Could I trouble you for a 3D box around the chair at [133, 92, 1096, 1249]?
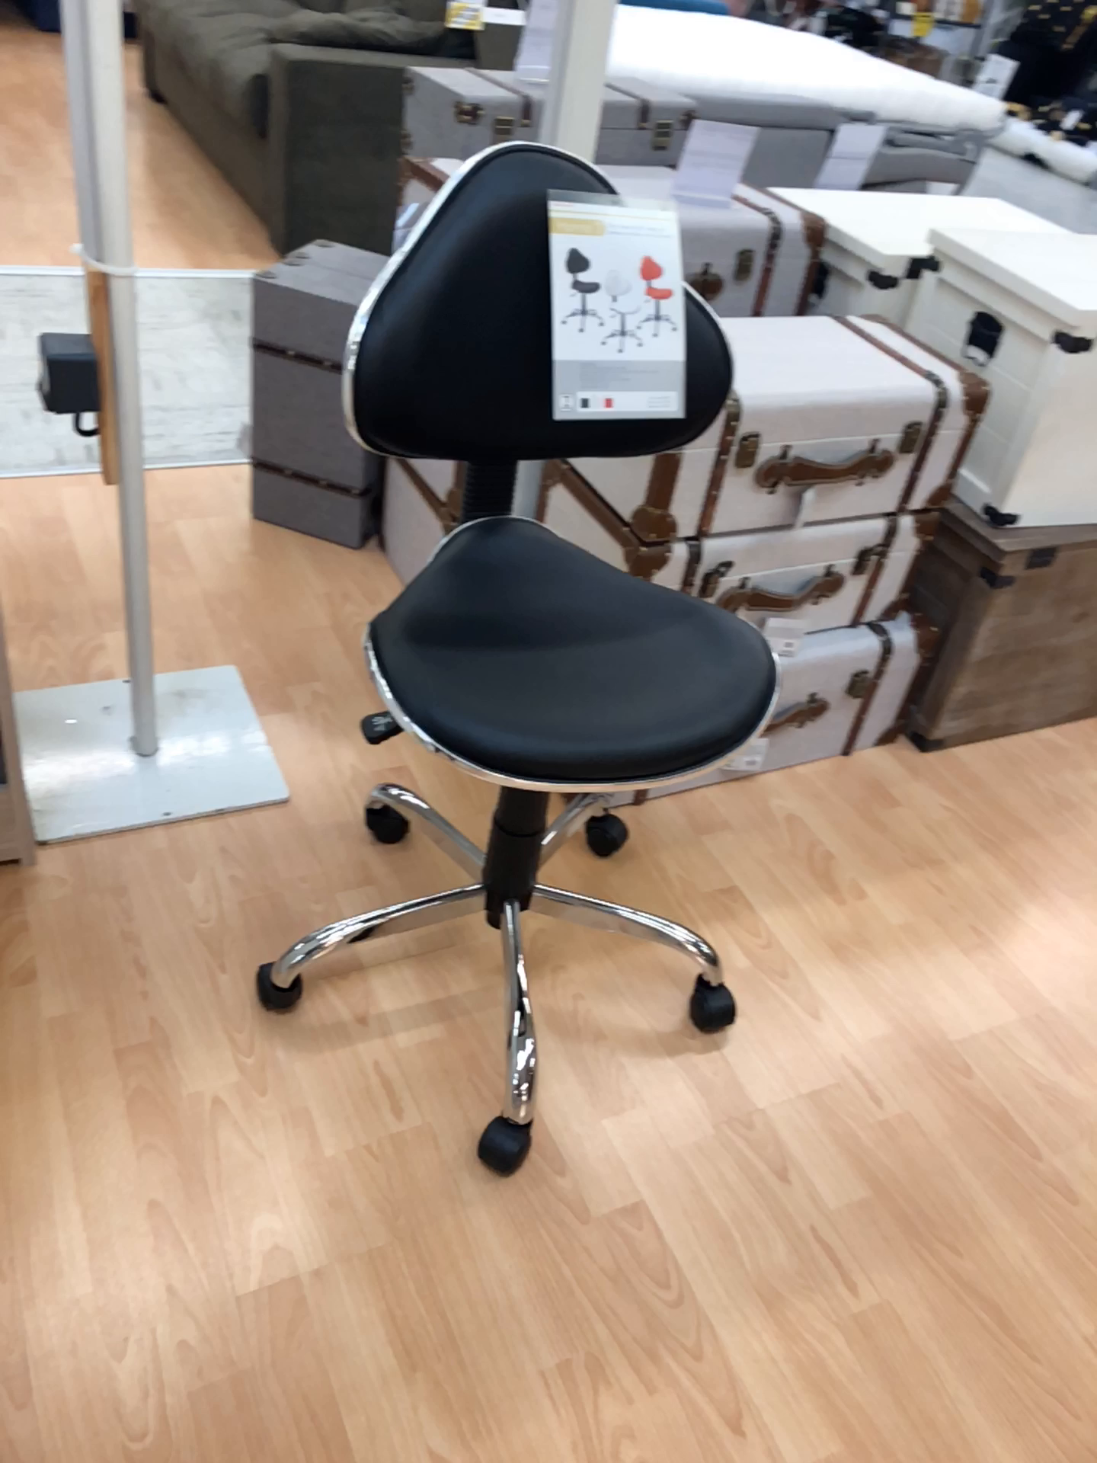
[{"bbox_3d":[-0.012,-0.087,1.223,0.603,0.854,0.612,-13,42,-28],"label":"chair"}]
